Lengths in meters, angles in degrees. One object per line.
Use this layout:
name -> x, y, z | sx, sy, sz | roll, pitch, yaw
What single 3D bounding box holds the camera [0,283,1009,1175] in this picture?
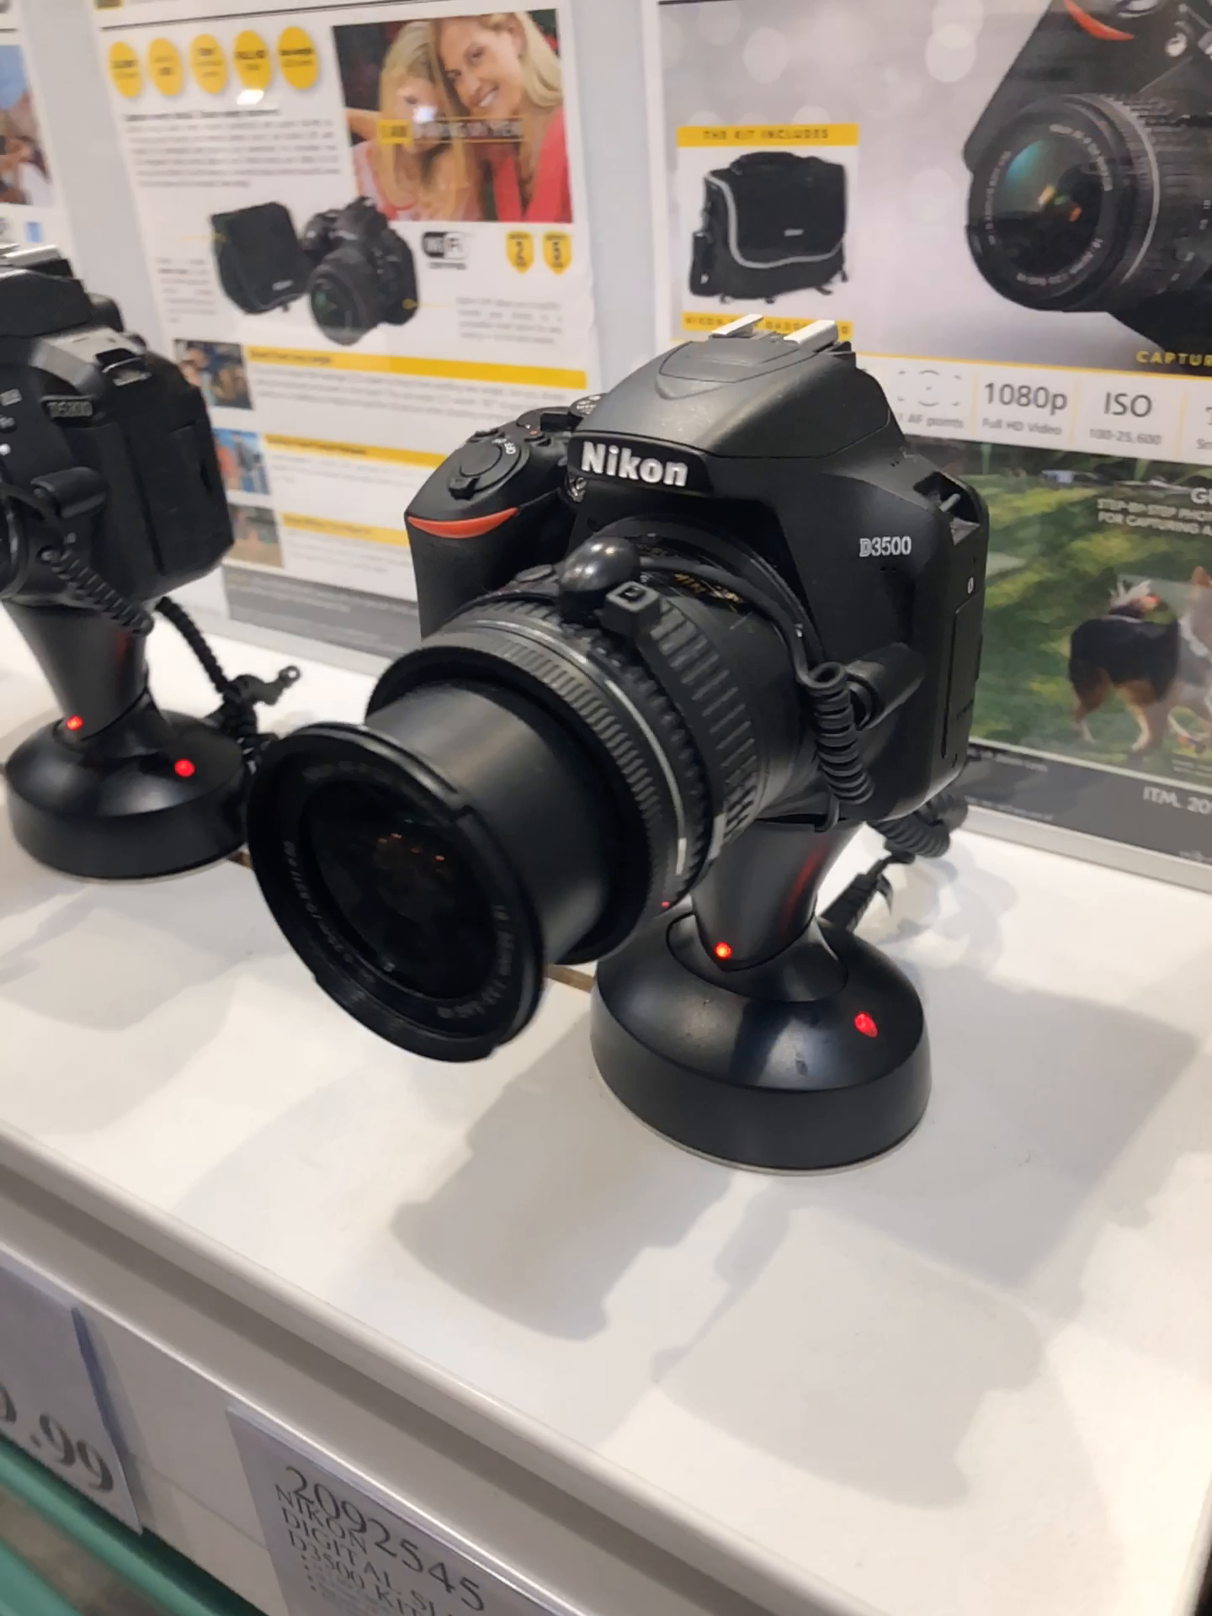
camera -> -0.016, -0.034, 0.251 | 0.130, 0.089, 0.141 | 16, 36, 29
